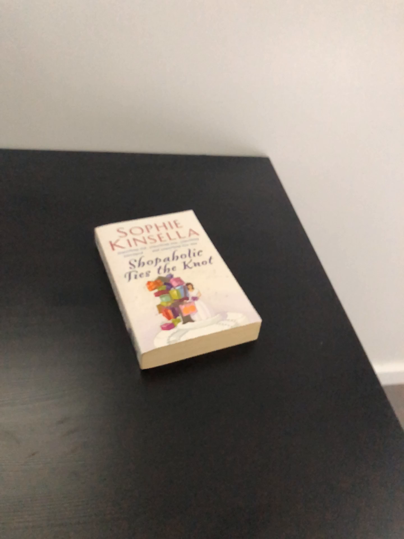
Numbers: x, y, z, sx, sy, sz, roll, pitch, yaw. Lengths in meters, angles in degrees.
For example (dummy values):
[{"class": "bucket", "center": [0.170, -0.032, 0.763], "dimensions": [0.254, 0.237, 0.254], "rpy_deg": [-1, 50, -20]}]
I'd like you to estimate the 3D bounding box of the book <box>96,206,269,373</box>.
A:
[{"class": "book", "center": [-0.032, 0.008, 0.507], "dimensions": [0.130, 0.035, 0.201], "rpy_deg": [-13, 45, -19]}]
